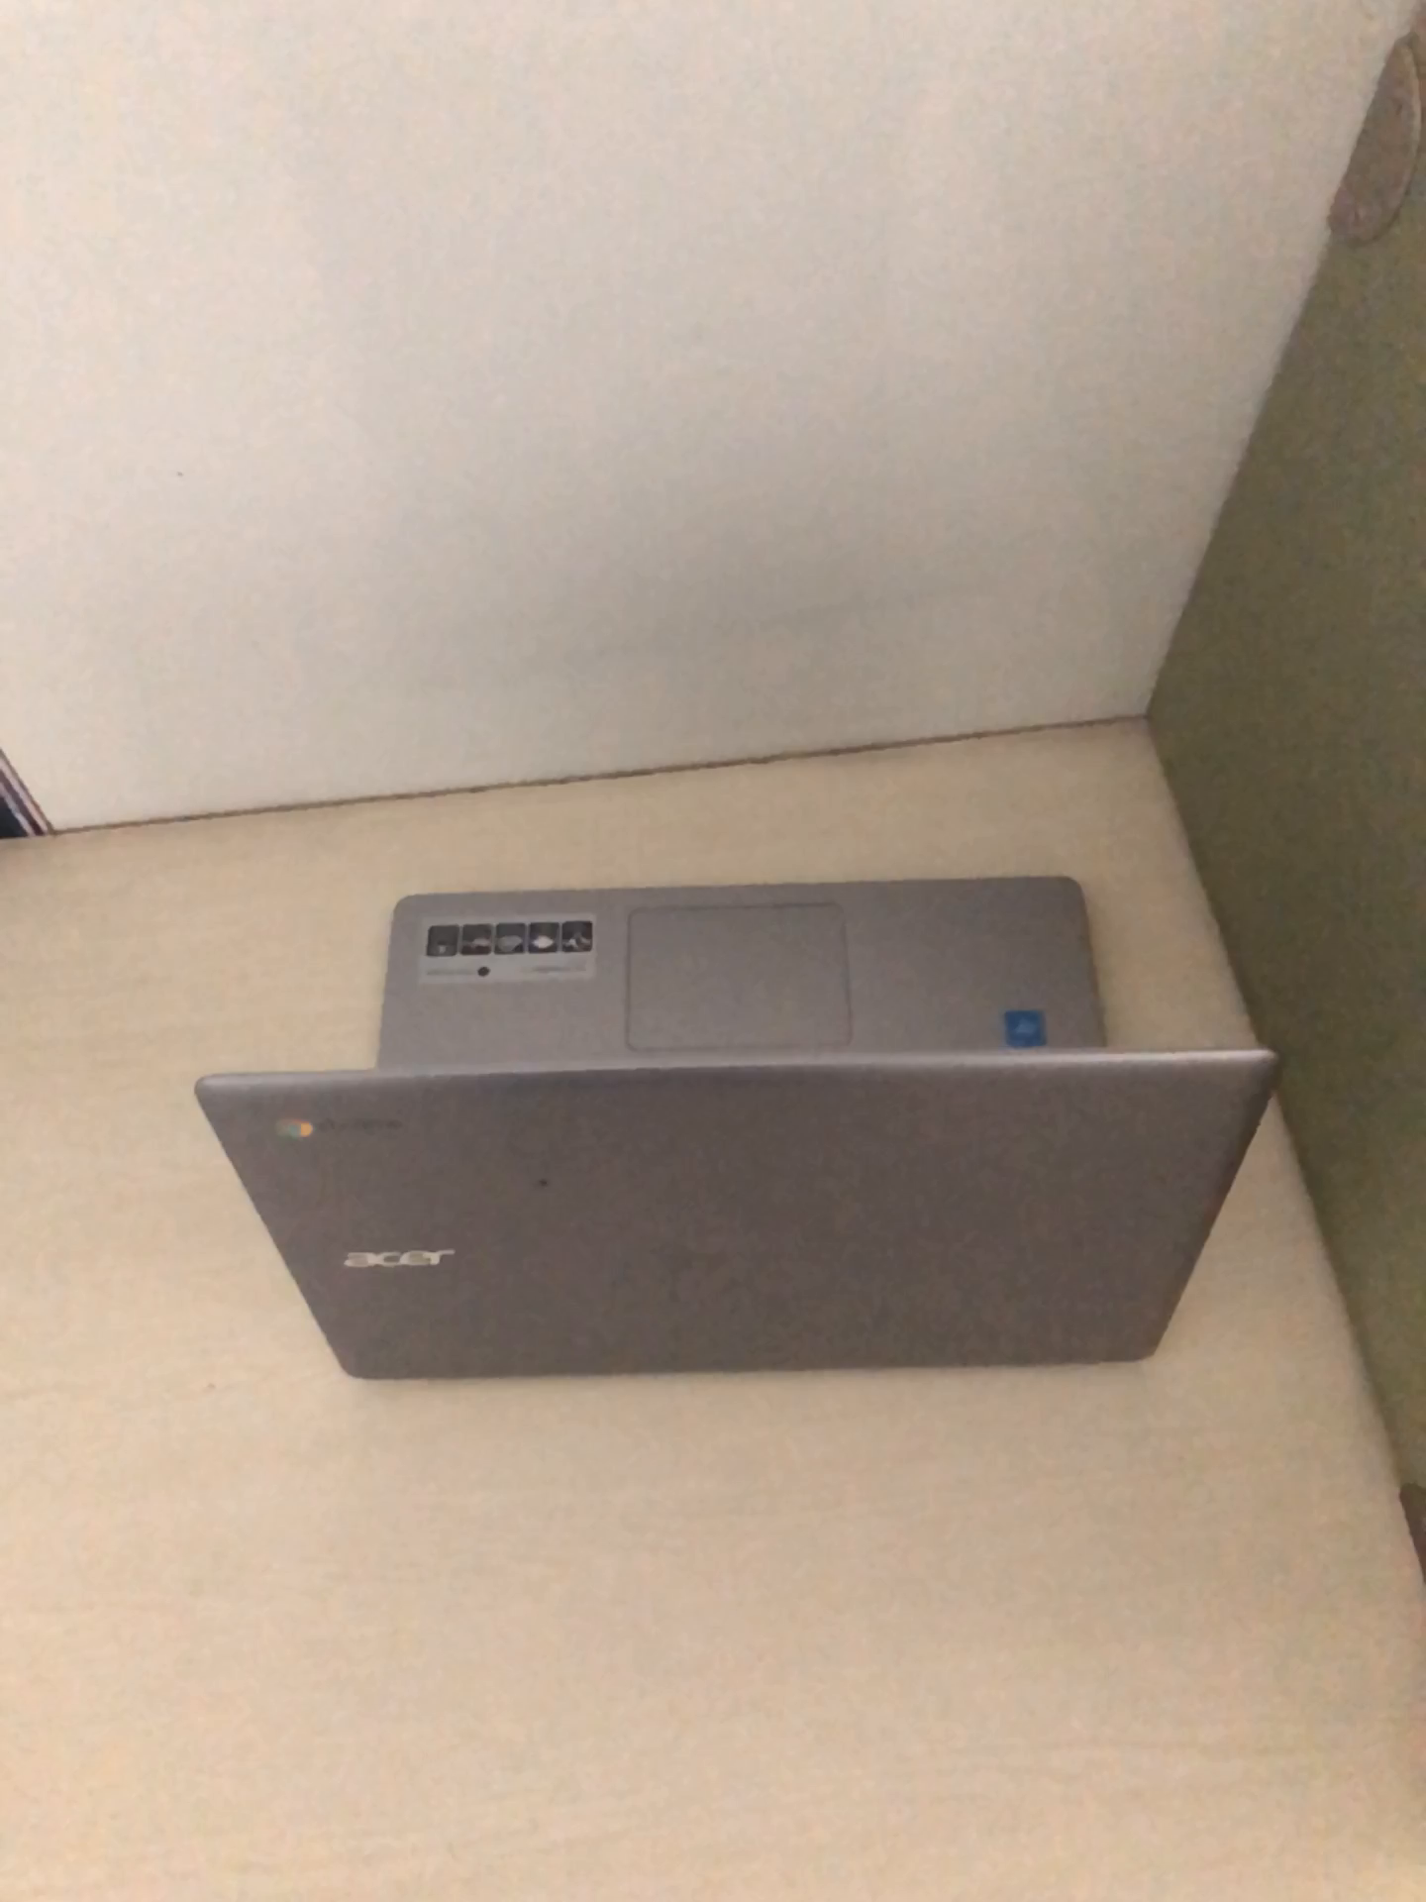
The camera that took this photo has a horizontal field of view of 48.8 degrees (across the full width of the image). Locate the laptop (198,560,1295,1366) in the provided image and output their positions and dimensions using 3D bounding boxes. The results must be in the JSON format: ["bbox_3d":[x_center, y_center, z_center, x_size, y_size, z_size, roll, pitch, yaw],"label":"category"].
[{"bbox_3d":[0.016,0.012,0.608,0.321,0.218,0.221,-1,59,-2],"label":"laptop"}]
